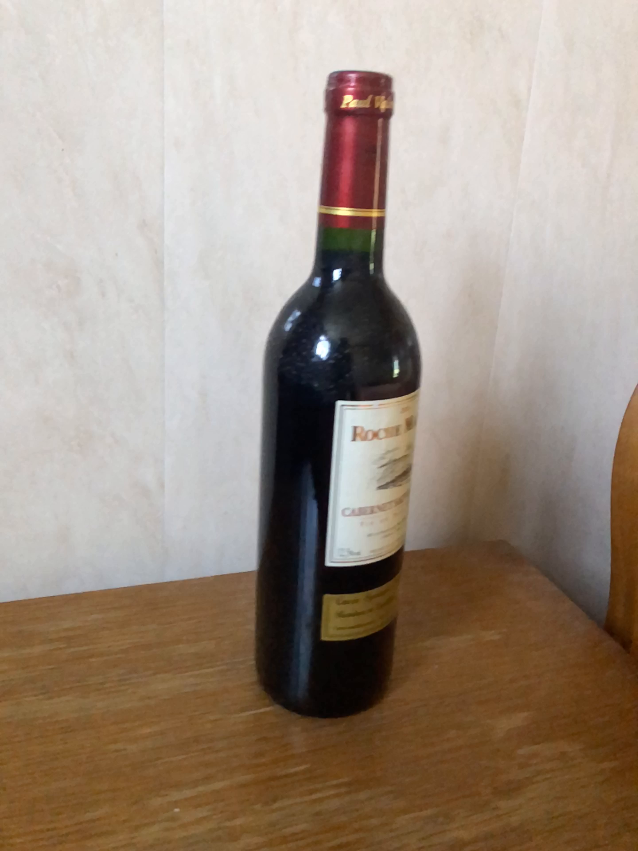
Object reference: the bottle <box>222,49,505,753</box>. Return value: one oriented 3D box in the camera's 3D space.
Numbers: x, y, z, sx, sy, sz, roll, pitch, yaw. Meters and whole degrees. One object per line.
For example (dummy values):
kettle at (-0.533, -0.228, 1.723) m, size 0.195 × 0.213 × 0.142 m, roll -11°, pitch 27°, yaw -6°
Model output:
bottle at (0.013, -0.006, 0.340) m, size 0.080 × 0.299 × 0.080 m, roll 3°, pitch 18°, yaw -1°
